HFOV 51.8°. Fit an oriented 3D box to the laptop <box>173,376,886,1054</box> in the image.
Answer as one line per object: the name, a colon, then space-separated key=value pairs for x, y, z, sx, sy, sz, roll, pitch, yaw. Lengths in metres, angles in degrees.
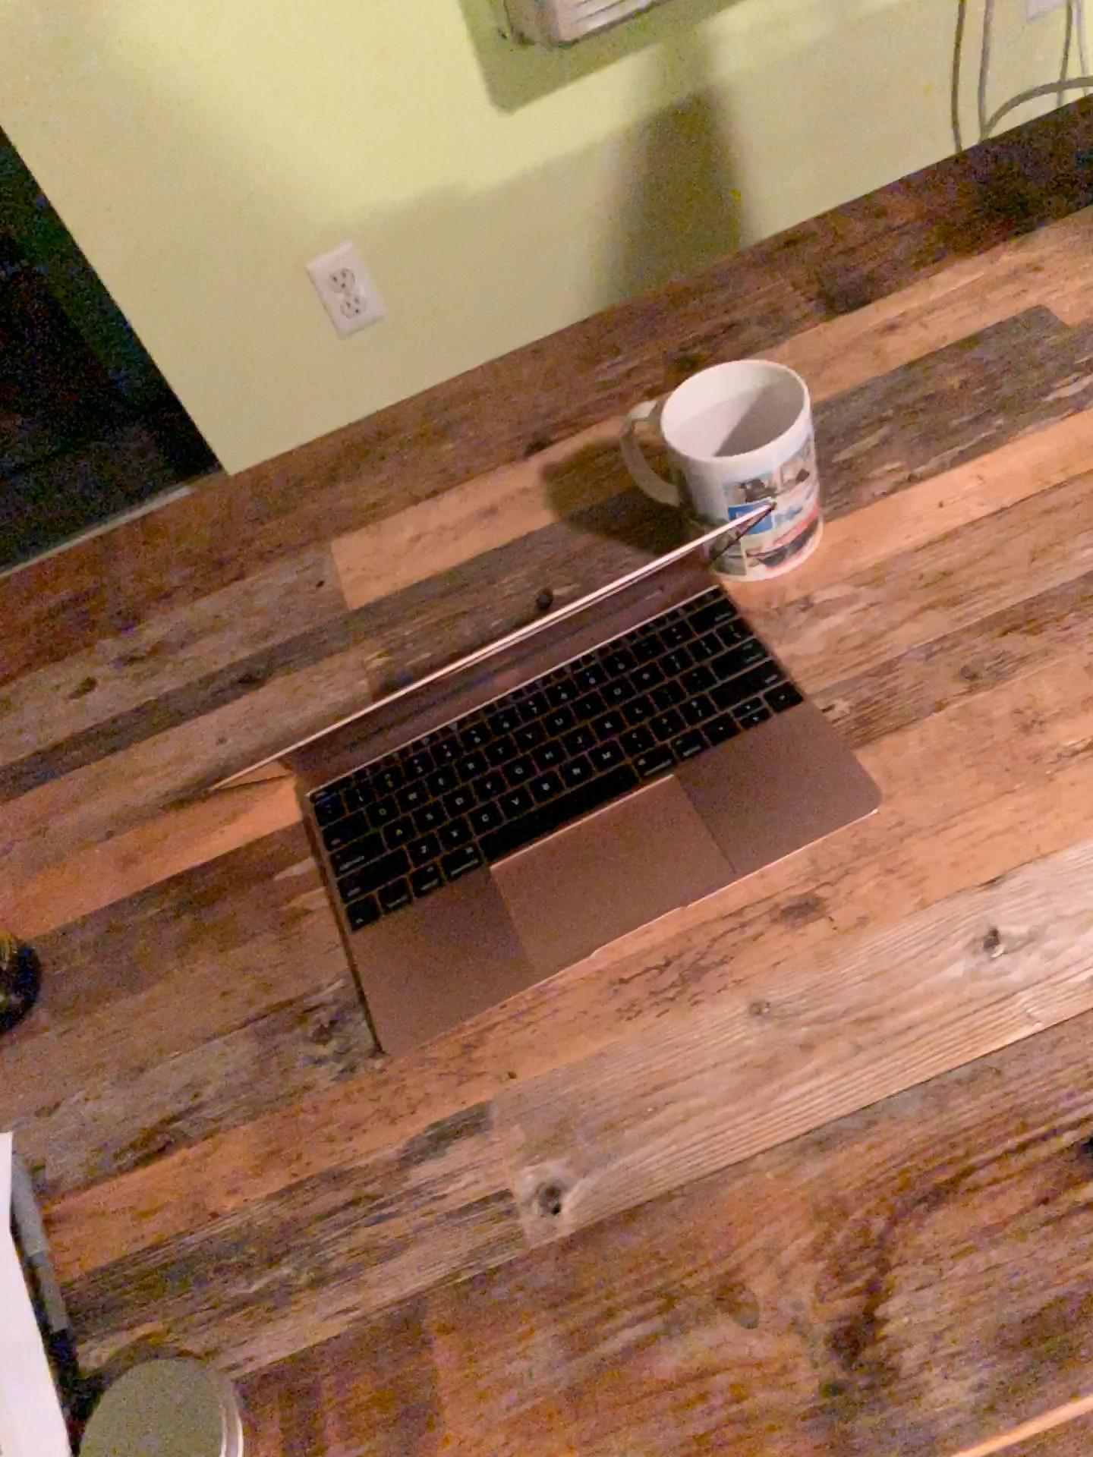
laptop: x=-0.009 y=-0.008 z=0.569 sx=0.278 sy=0.145 sz=0.194 roll=-27 pitch=52 yaw=-1
